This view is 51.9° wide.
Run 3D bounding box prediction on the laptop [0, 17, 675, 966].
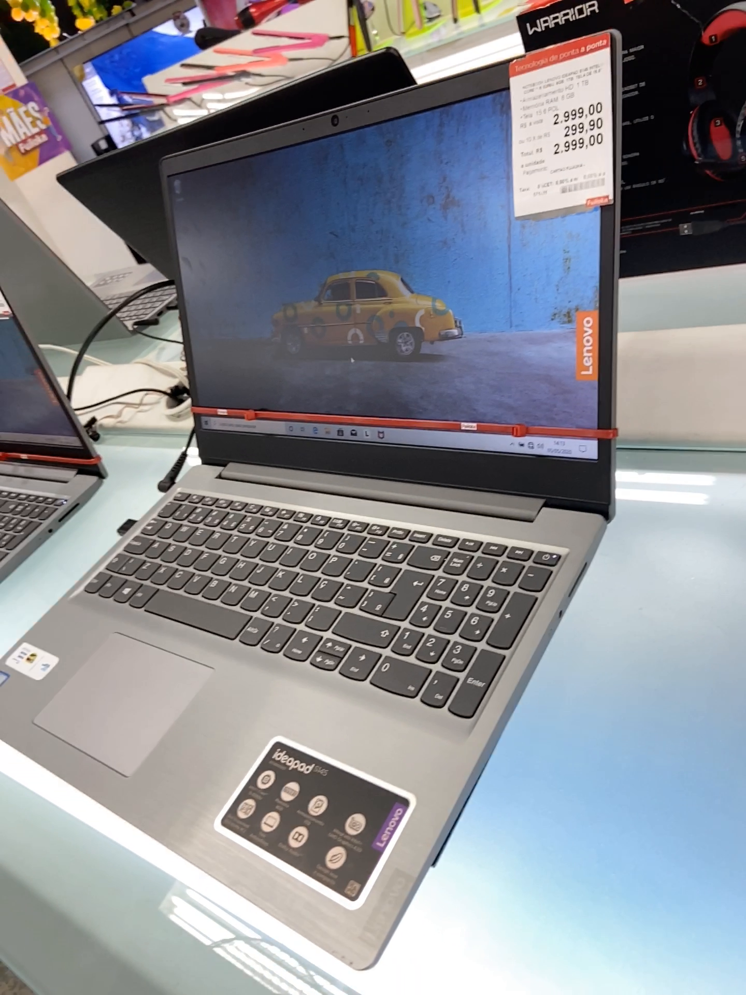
[{"bbox_3d":[-0.087,-0.048,0.452,0.369,0.209,0.380,6,46,40],"label":"laptop"}]
